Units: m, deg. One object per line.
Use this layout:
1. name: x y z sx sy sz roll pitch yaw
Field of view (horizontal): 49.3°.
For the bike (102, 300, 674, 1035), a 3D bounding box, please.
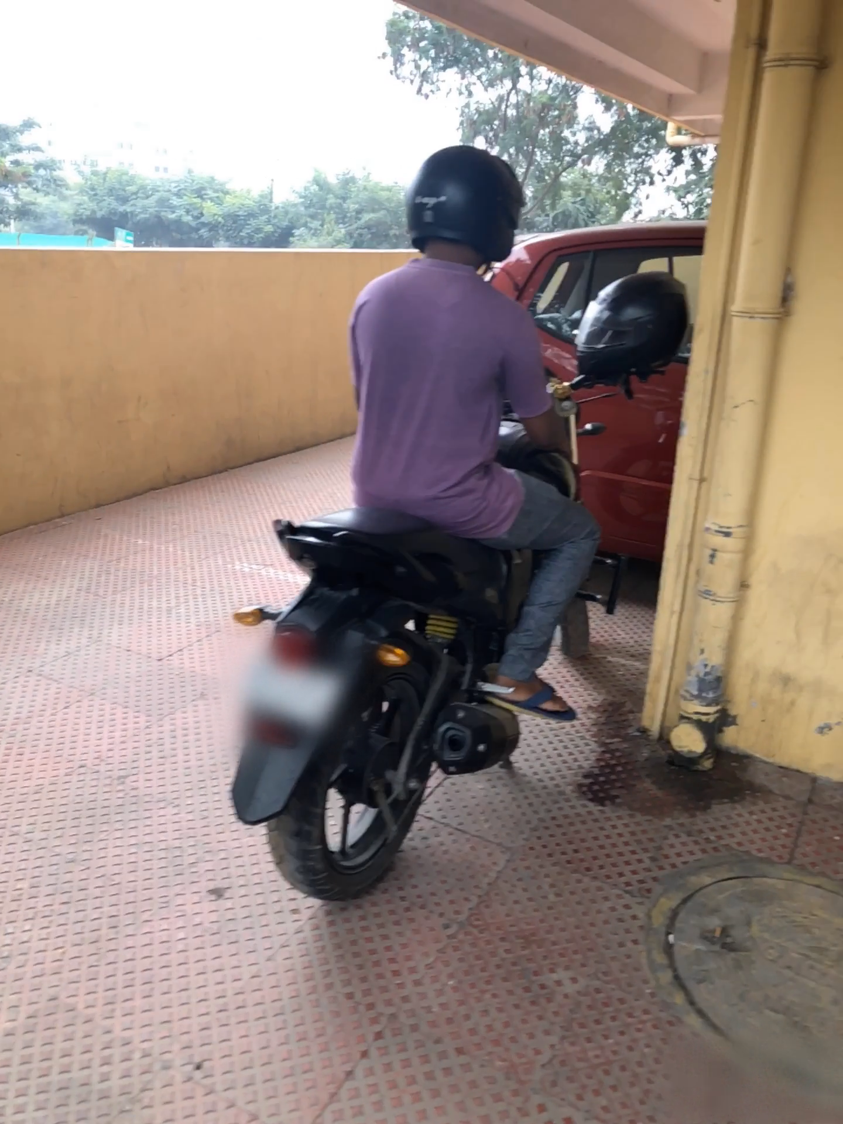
1. bike: 0.105 -0.028 2.572 0.853 1.156 1.914 9 22 18
